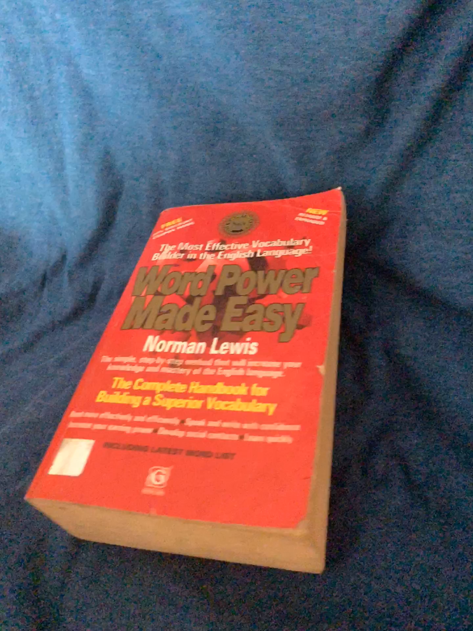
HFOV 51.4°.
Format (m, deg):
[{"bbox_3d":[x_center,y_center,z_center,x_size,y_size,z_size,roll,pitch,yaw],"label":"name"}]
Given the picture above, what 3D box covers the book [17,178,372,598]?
[{"bbox_3d":[0.001,0.015,0.240,0.120,0.050,0.191,0,50,17],"label":"book"}]
